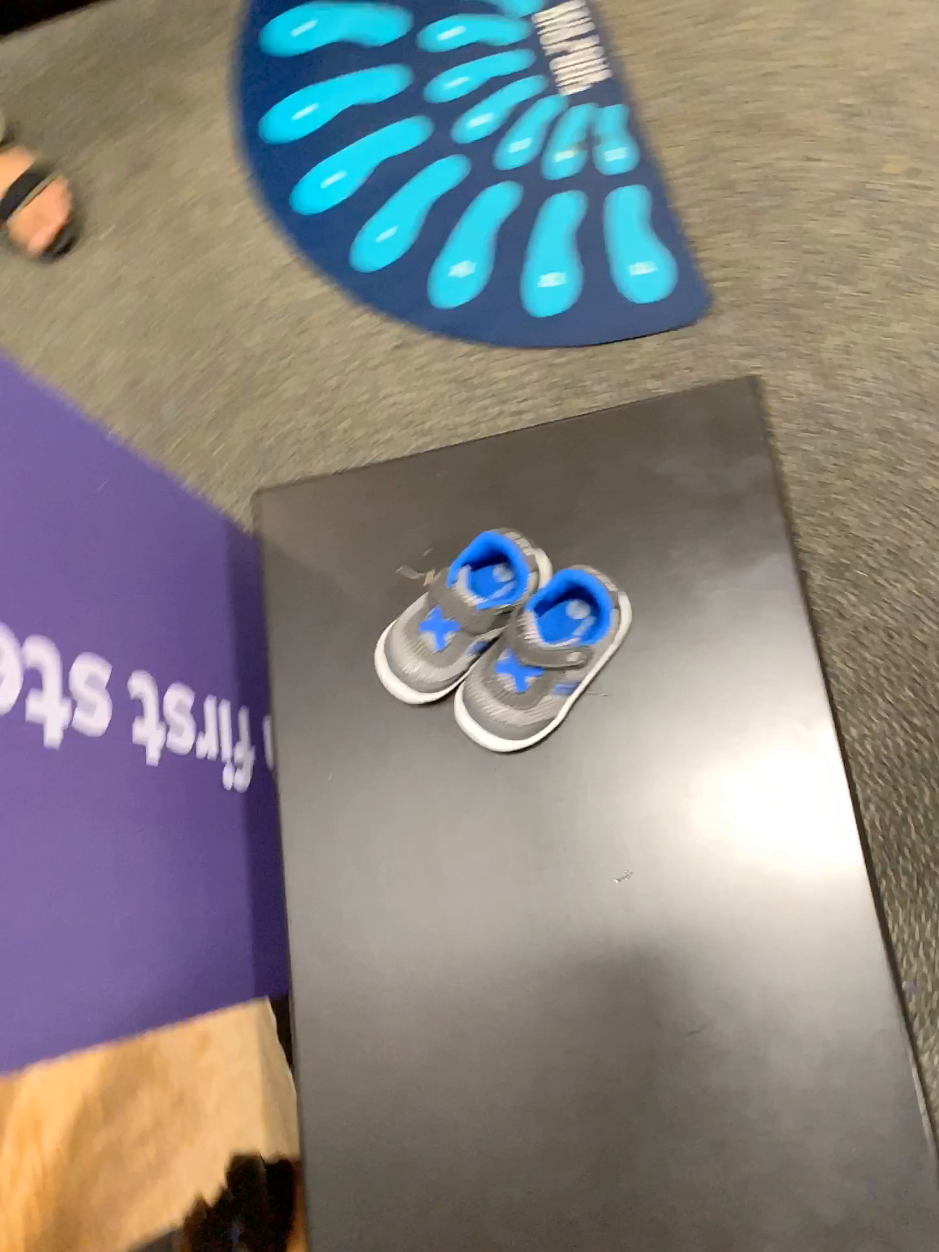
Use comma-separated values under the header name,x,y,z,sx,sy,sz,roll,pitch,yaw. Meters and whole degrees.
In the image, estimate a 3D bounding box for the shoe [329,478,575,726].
name,x,y,z,sx,sy,sz,roll,pitch,yaw
shoe,-0.009,-0.014,0.625,0.140,0.060,0.070,-46,70,0

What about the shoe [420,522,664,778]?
name,x,y,z,sx,sy,sz,roll,pitch,yaw
shoe,0.048,0.017,0.606,0.070,0.060,0.140,41,89,20
